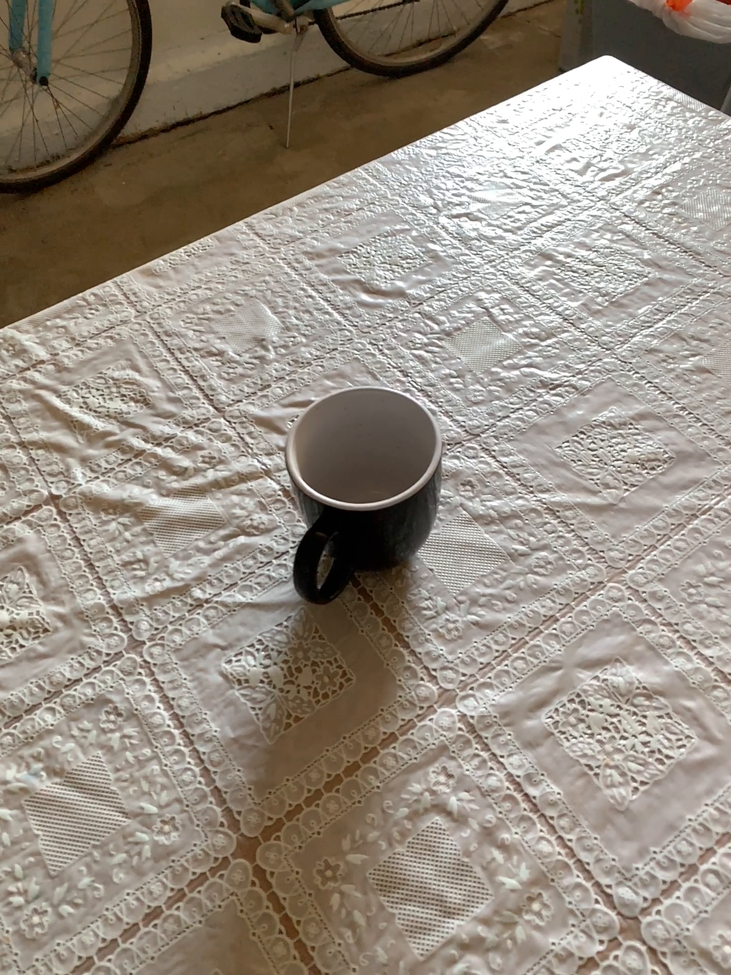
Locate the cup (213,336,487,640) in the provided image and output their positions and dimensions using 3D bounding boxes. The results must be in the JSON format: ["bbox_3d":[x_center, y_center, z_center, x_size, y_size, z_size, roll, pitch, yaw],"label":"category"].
[{"bbox_3d":[-0.004,-0.001,0.489,0.100,0.100,0.140,31,65,22],"label":"cup"}]
